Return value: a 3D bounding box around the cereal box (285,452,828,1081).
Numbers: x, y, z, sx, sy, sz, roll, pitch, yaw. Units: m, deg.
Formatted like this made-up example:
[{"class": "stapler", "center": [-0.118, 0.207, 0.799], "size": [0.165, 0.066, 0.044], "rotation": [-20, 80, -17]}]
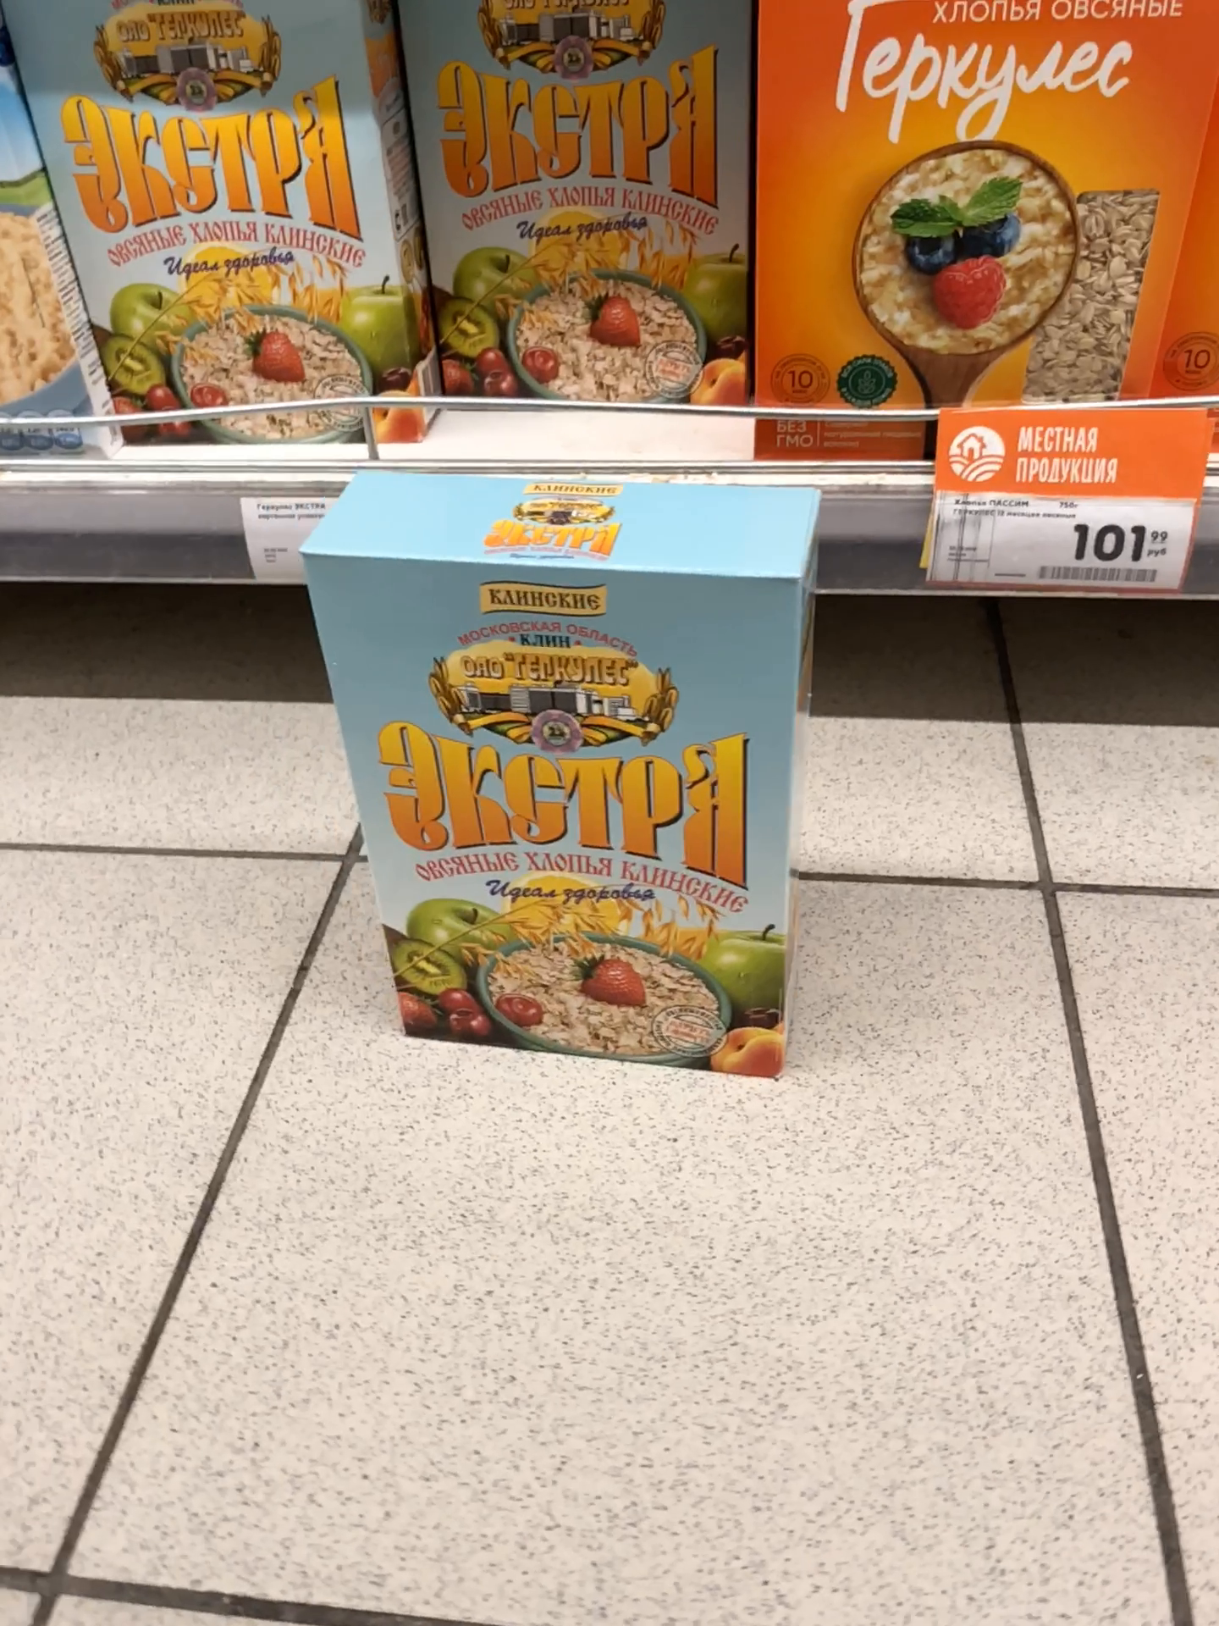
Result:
[{"class": "cereal box", "center": [-0.008, -0.009, 0.460], "size": [0.150, 0.209, 0.060], "rotation": [5, 40, 11]}]
